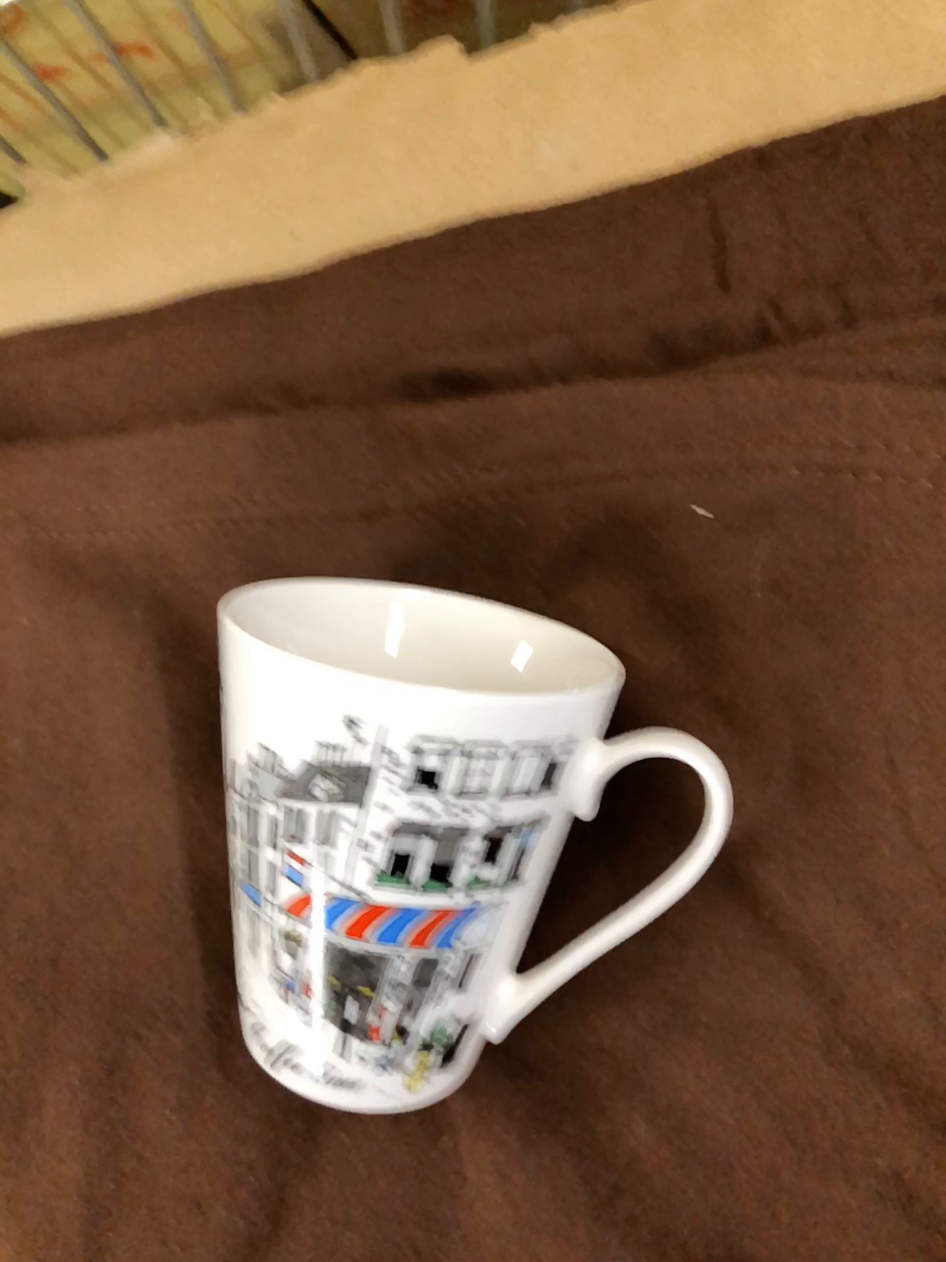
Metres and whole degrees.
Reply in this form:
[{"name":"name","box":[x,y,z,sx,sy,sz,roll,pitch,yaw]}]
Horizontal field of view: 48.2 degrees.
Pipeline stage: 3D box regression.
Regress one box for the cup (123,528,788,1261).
[{"name":"cup","box":[-0.001,0.044,0.236,0.110,0.080,0.110,3,99,20]}]
